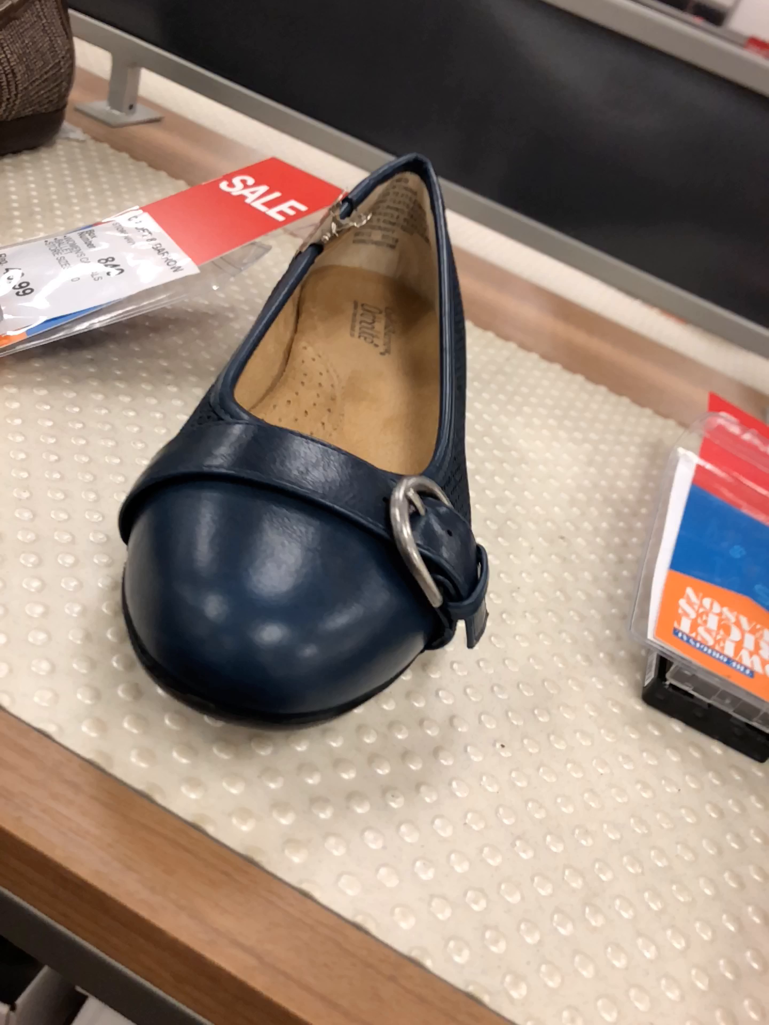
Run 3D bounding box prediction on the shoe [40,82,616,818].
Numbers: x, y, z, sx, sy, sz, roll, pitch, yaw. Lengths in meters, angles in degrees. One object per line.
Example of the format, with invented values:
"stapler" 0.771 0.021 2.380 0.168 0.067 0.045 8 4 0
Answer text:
"shoe" -0.006 -0.057 0.274 0.088 0.081 0.280 17 34 -7
